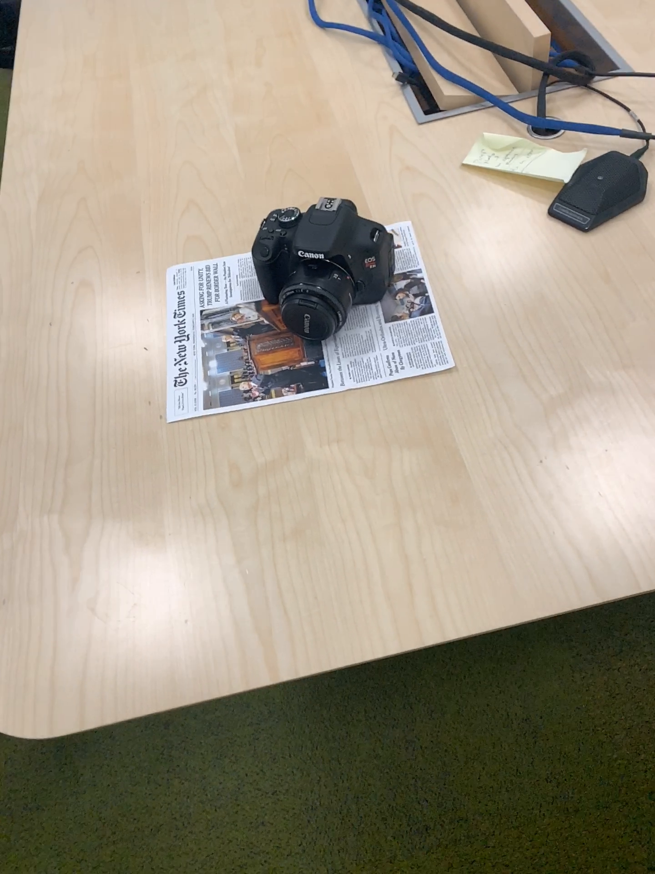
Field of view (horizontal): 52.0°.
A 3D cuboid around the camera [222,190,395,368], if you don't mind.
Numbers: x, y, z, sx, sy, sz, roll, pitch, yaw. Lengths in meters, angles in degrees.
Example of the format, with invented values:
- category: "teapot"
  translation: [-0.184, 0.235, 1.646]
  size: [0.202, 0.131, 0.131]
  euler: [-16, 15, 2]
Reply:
- category: "camera"
  translation: [-0.012, -0.157, 0.668]
  size: [0.125, 0.100, 0.122]
  euler: [13, 60, 17]
